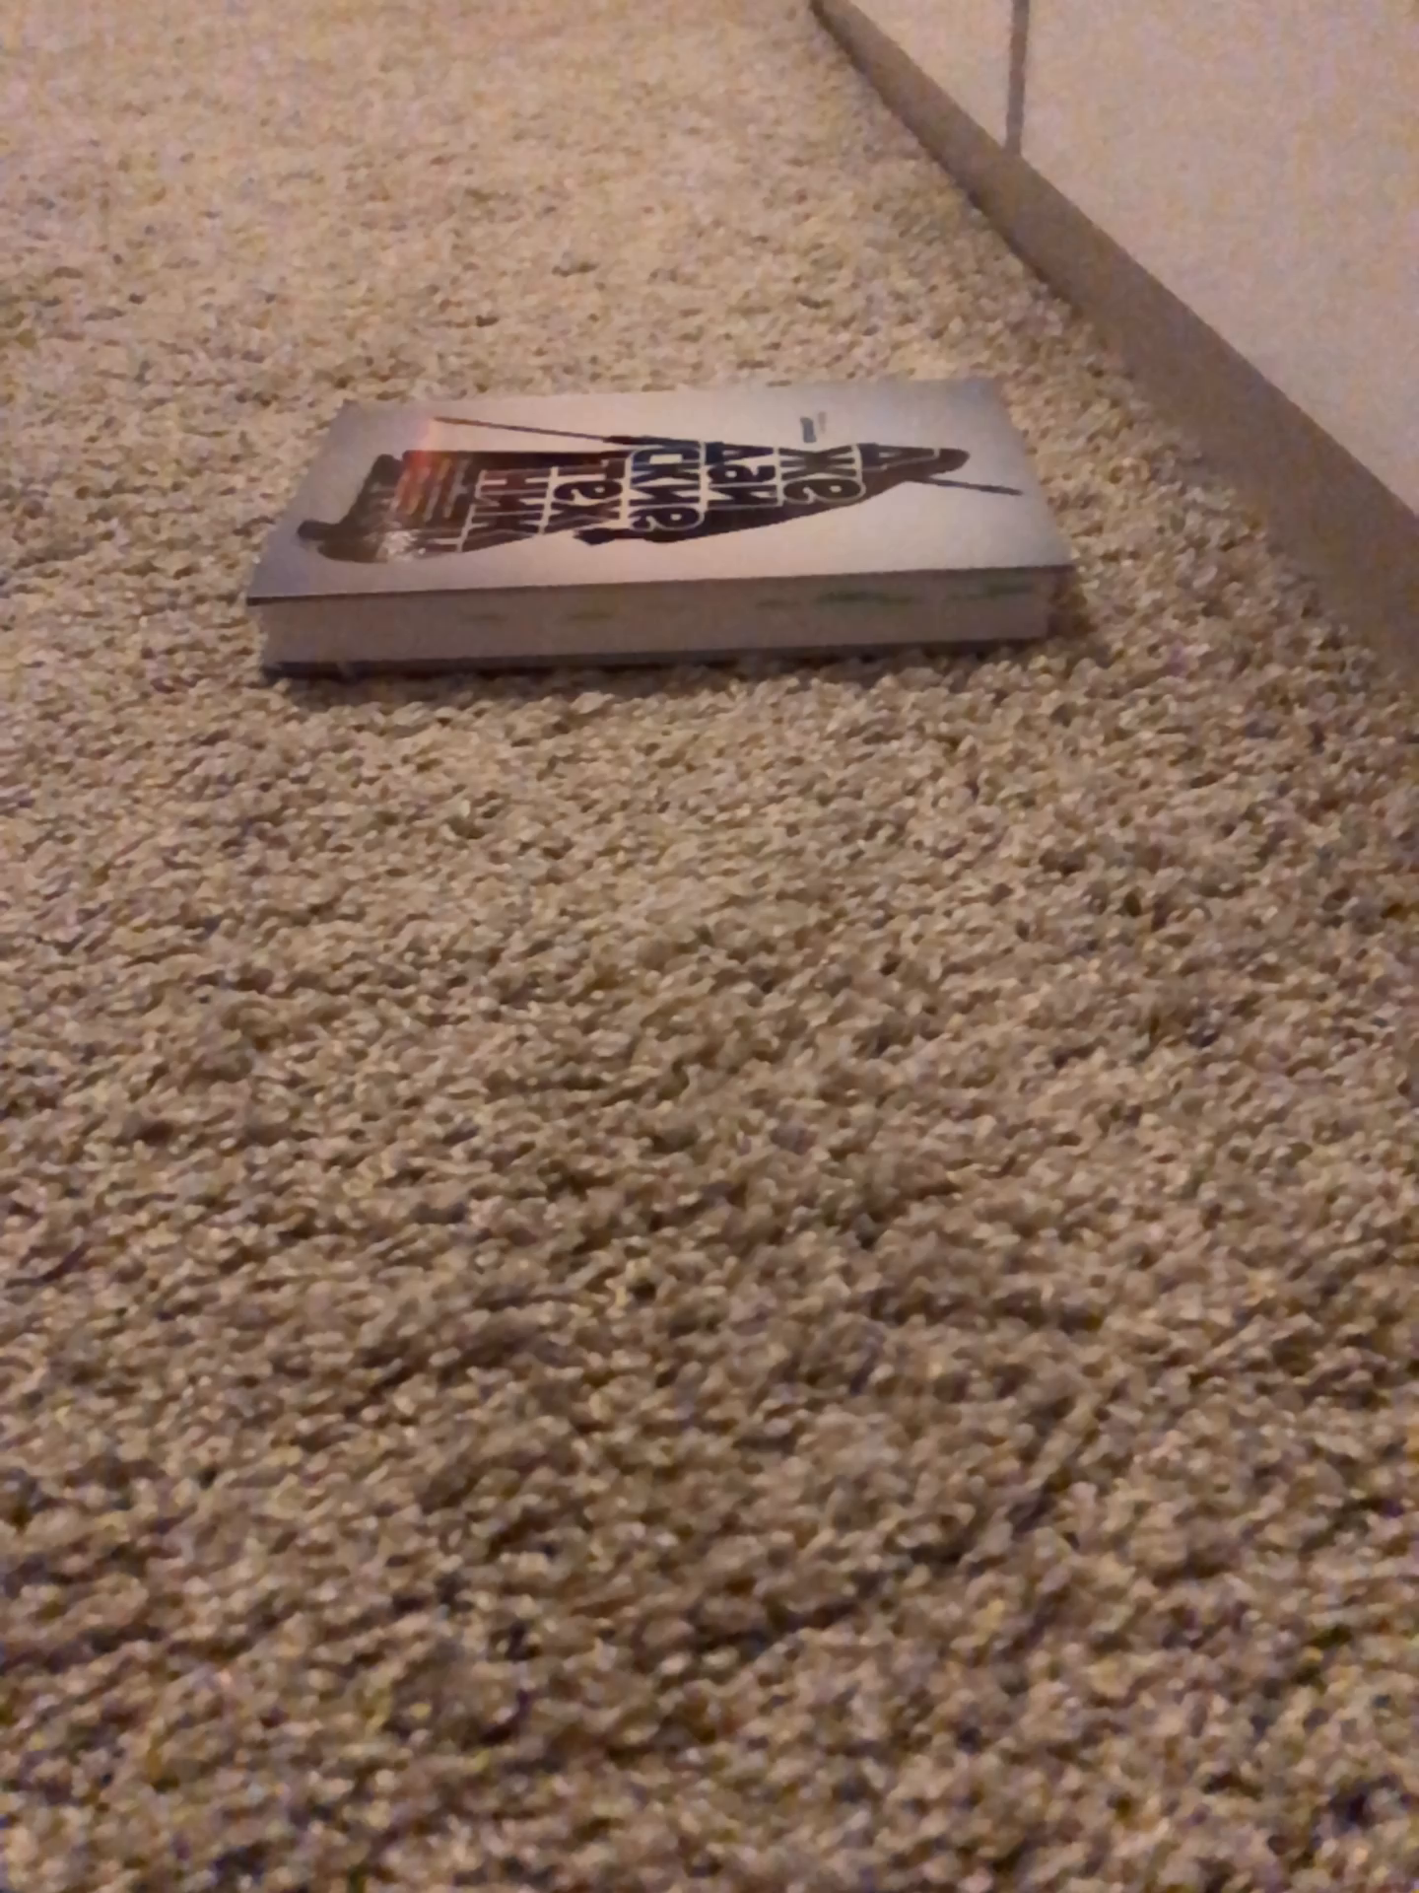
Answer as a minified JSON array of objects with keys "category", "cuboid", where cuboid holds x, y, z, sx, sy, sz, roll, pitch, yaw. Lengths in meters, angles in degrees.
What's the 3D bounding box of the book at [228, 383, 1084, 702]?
[{"category":"book","cuboid":[-0.014,-0.126,0.469,0.220,0.026,0.151,-2,38,2]}]
